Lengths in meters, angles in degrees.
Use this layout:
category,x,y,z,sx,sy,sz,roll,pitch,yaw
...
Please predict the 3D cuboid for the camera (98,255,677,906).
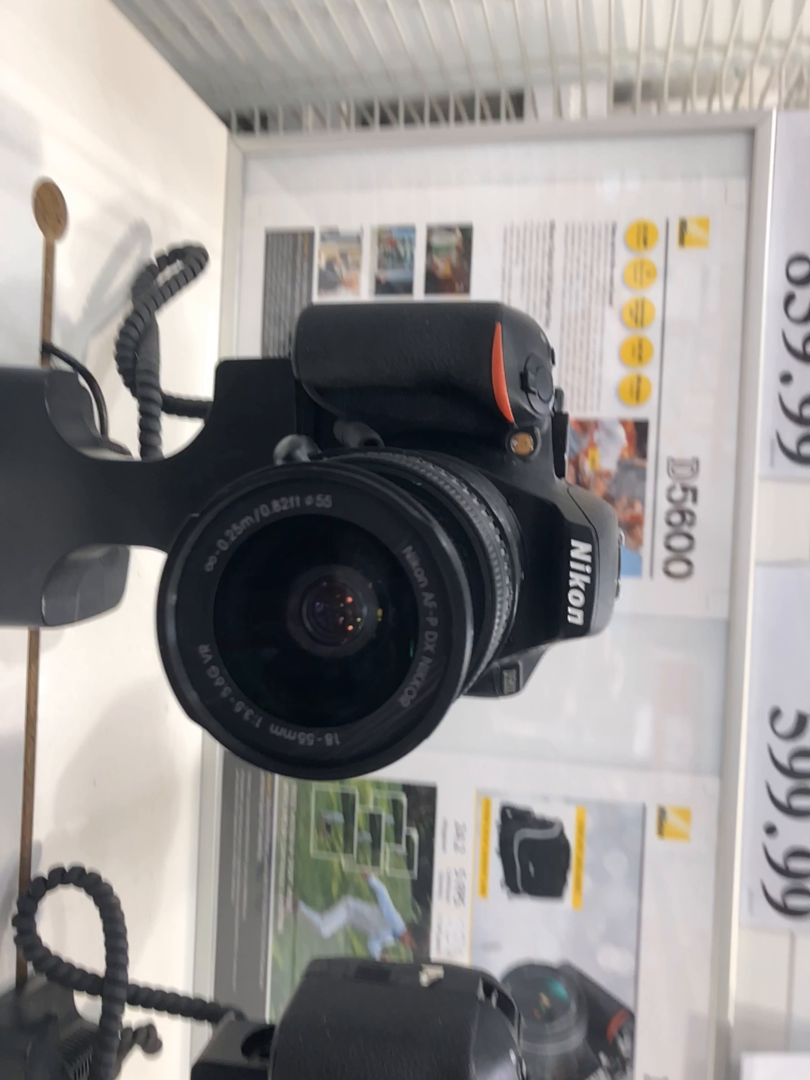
category,x,y,z,sx,sy,sz,roll,pitch,yaw
camera,0.009,-0.001,0.252,0.160,0.110,0.120,-30,121,-77
